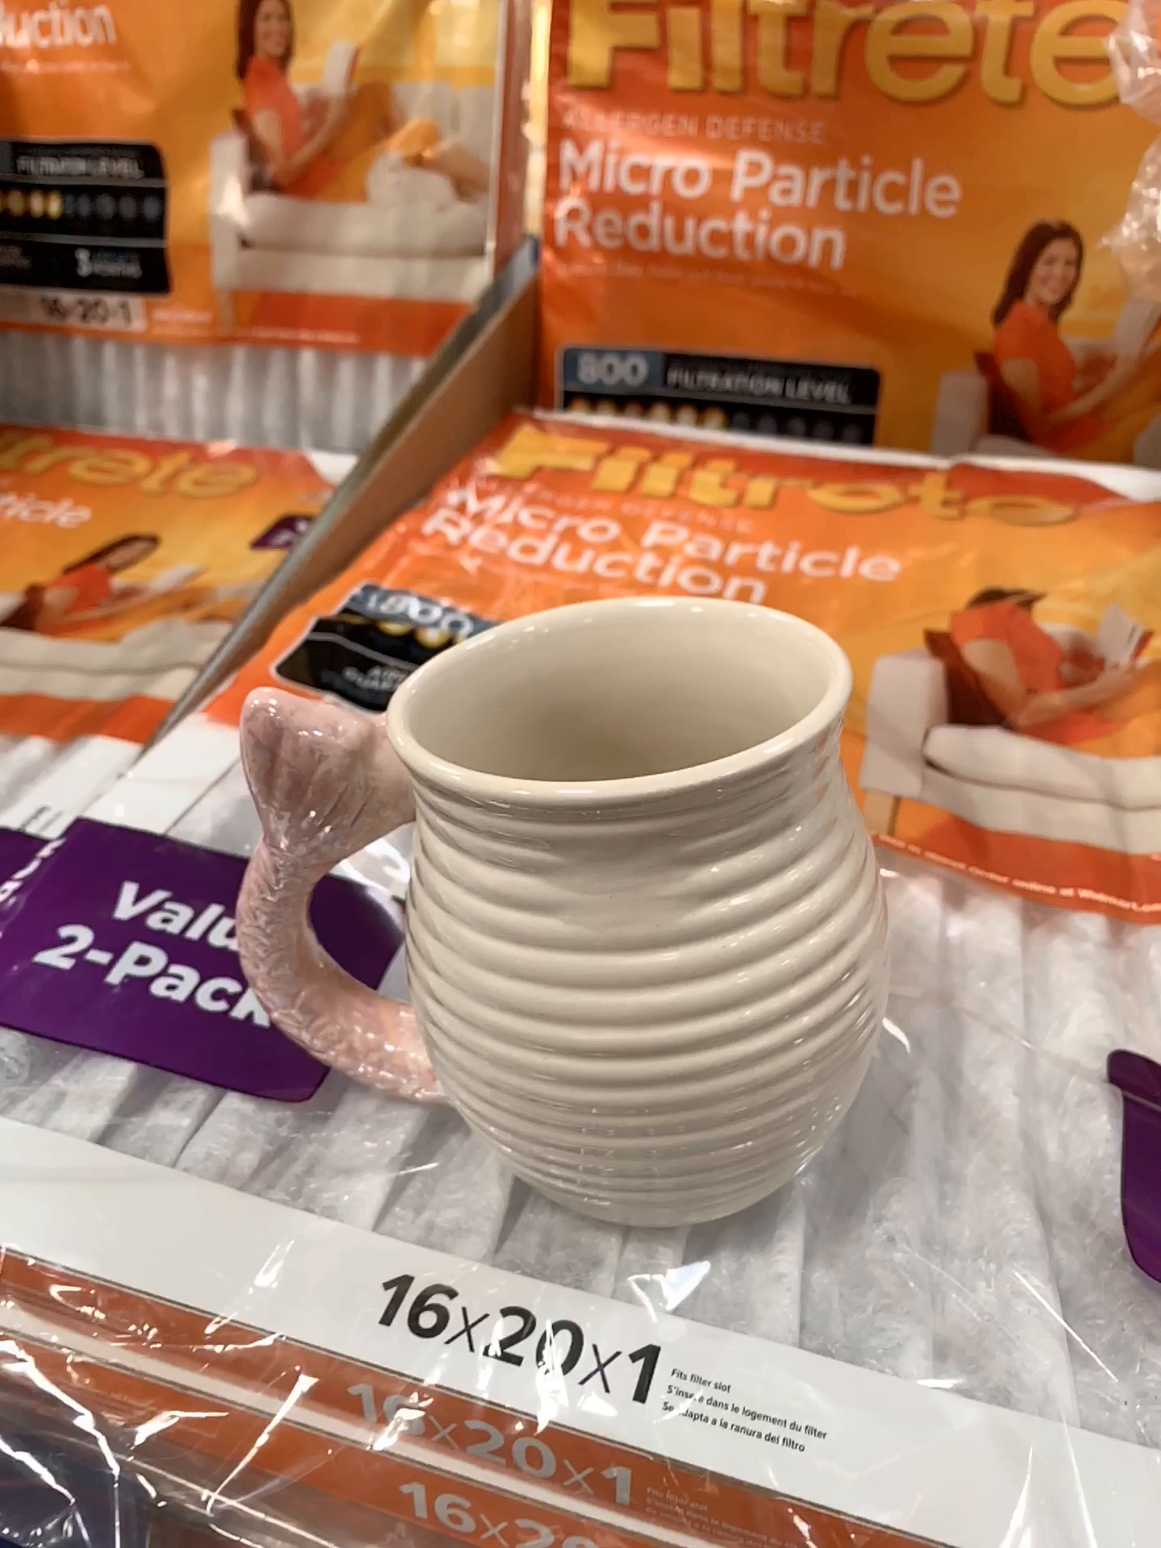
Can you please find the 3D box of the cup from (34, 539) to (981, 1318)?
[{"bbox_3d":[-0.003,0.016,0.237,0.141,0.090,0.101,6,31,20],"label":"cup"}]
